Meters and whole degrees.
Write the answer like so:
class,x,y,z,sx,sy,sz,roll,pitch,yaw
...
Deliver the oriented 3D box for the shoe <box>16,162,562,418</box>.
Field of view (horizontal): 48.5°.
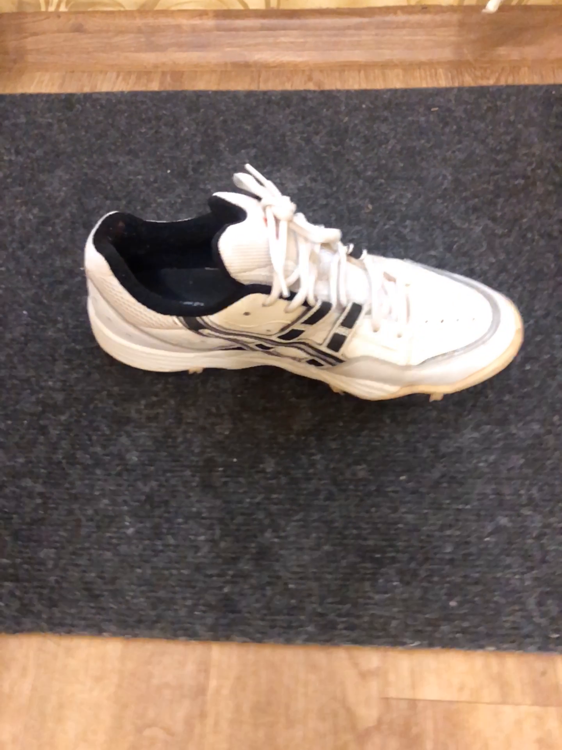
class,x,y,z,sx,sy,sz,roll,pitch,yaw
shoe,0.012,-0.050,0.371,0.280,0.100,0.100,3,60,6
